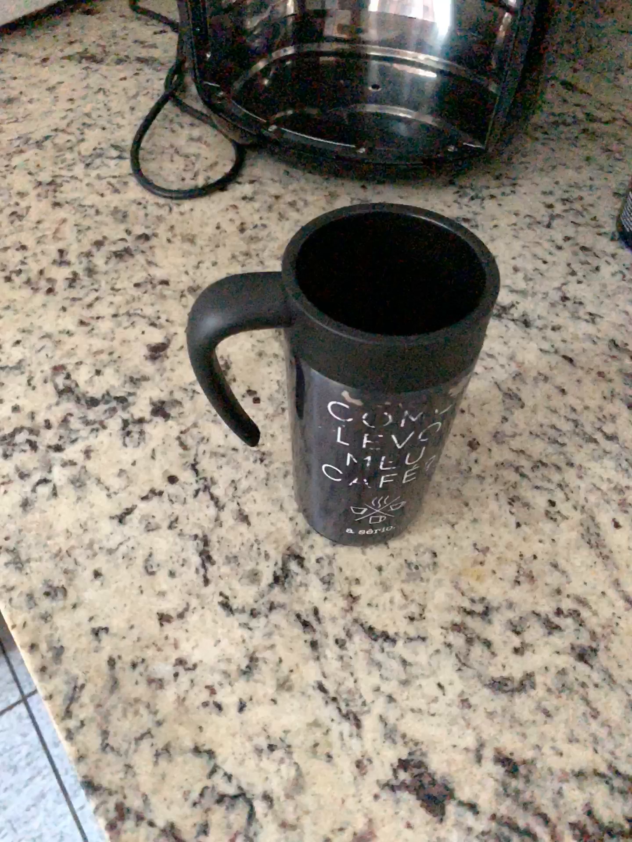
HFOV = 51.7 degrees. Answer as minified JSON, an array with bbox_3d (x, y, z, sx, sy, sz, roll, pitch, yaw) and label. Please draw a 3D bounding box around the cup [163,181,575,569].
[{"bbox_3d":[0.011,-0.011,0.267,0.120,0.139,0.080,-3,52,-5],"label":"cup"}]
